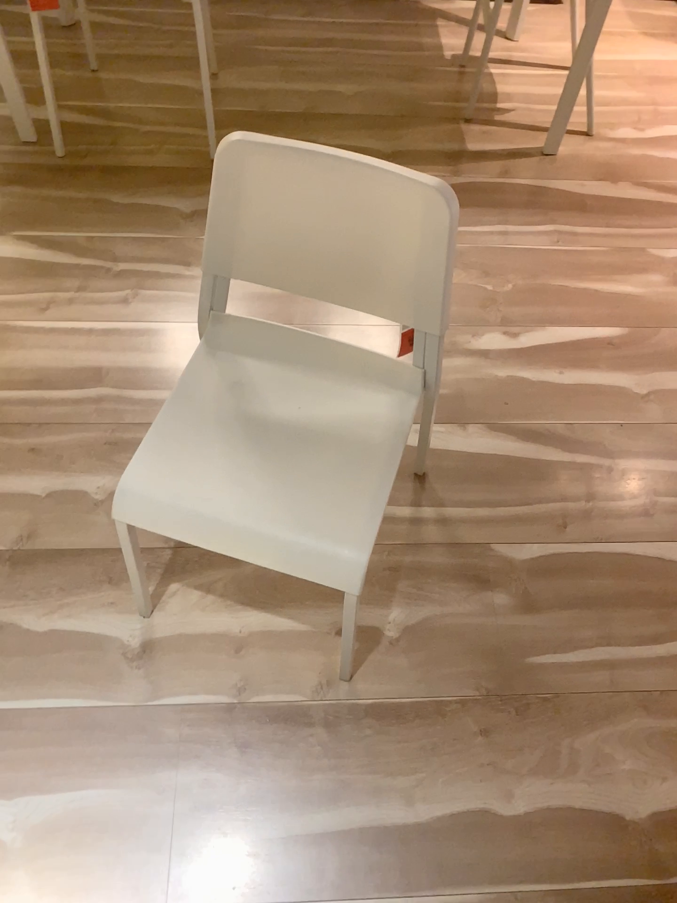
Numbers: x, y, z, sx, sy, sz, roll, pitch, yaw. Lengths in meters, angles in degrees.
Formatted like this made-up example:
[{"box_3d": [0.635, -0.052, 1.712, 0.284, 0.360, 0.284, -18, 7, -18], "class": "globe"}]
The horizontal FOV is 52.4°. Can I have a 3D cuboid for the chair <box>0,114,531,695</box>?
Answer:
[{"box_3d": [-0.072, -0.027, 1.157, 0.520, 0.709, 0.551, 15, 58, 6], "class": "chair"}]
